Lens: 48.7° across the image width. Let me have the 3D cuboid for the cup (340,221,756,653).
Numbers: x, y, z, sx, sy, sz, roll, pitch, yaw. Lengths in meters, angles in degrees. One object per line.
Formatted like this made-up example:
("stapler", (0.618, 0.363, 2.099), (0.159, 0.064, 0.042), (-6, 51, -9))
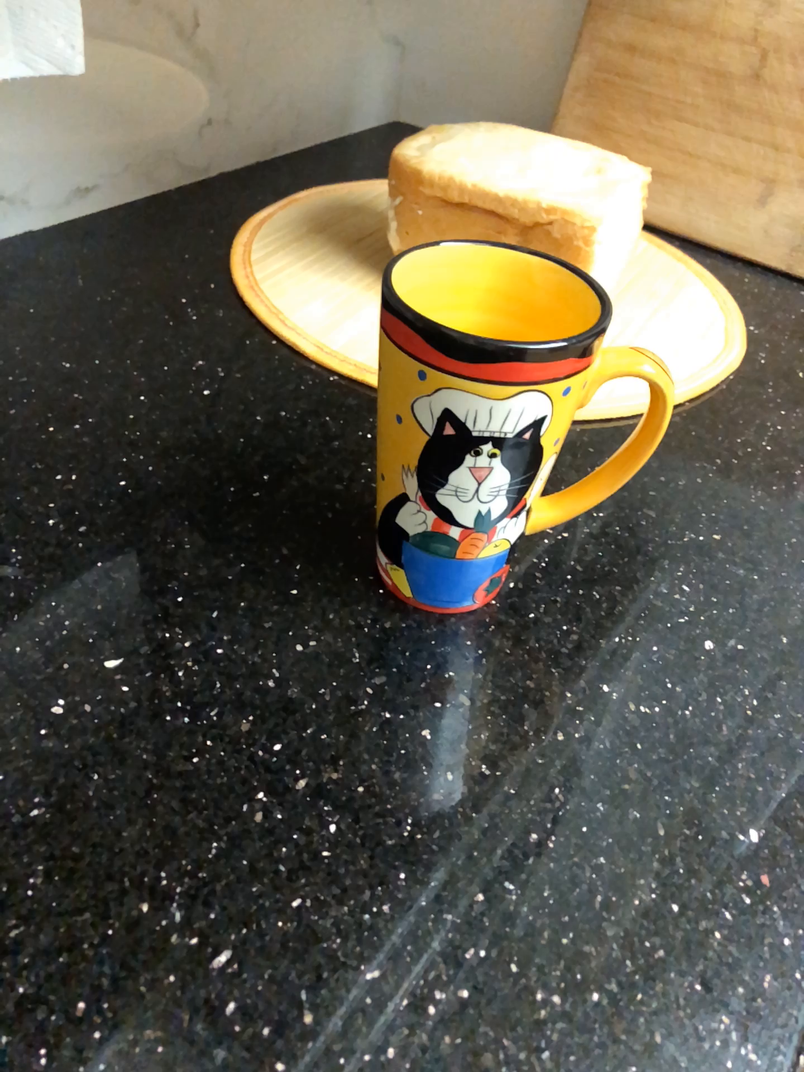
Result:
("cup", (0.048, -0.038, 0.375), (0.130, 0.139, 0.091), (7, 41, -2))
